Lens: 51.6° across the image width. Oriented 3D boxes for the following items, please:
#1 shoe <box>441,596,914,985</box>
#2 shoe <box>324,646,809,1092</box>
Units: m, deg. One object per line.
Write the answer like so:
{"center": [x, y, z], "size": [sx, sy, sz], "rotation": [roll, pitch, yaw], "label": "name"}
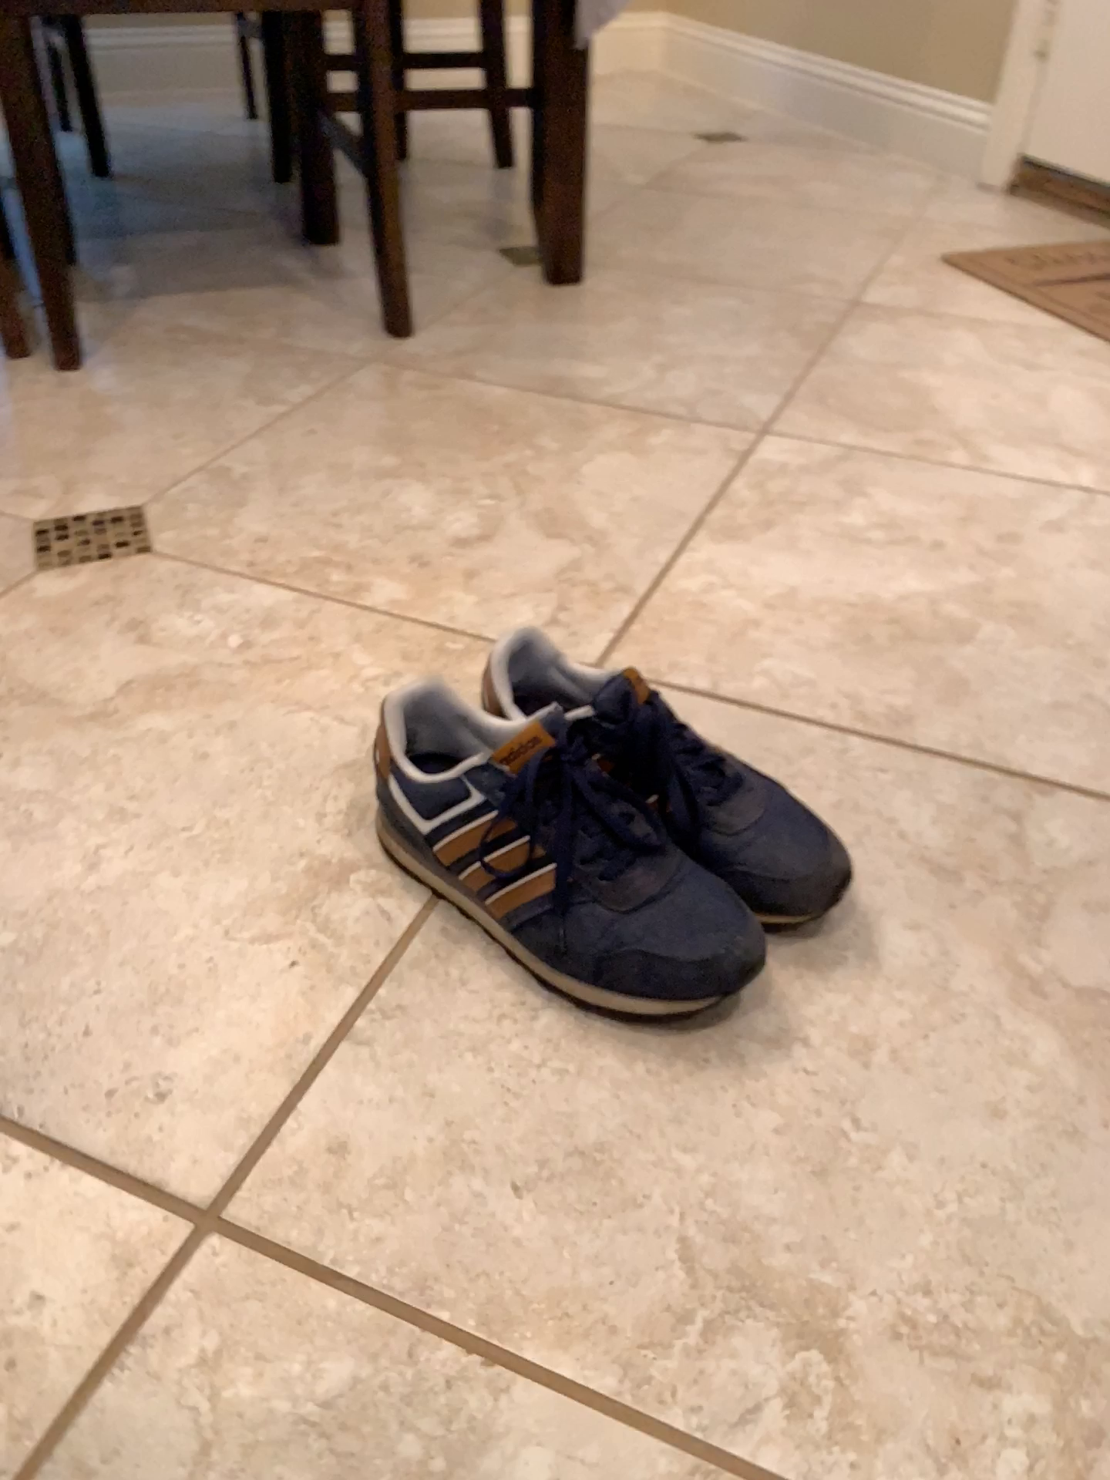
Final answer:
{"center": [0.068, 0.020, 0.749], "size": [0.283, 0.102, 0.112], "rotation": [28, 45, 30], "label": "shoe"}
{"center": [-0.004, 0.063, 0.690], "size": [0.283, 0.102, 0.107], "rotation": [31, 47, 32], "label": "shoe"}
